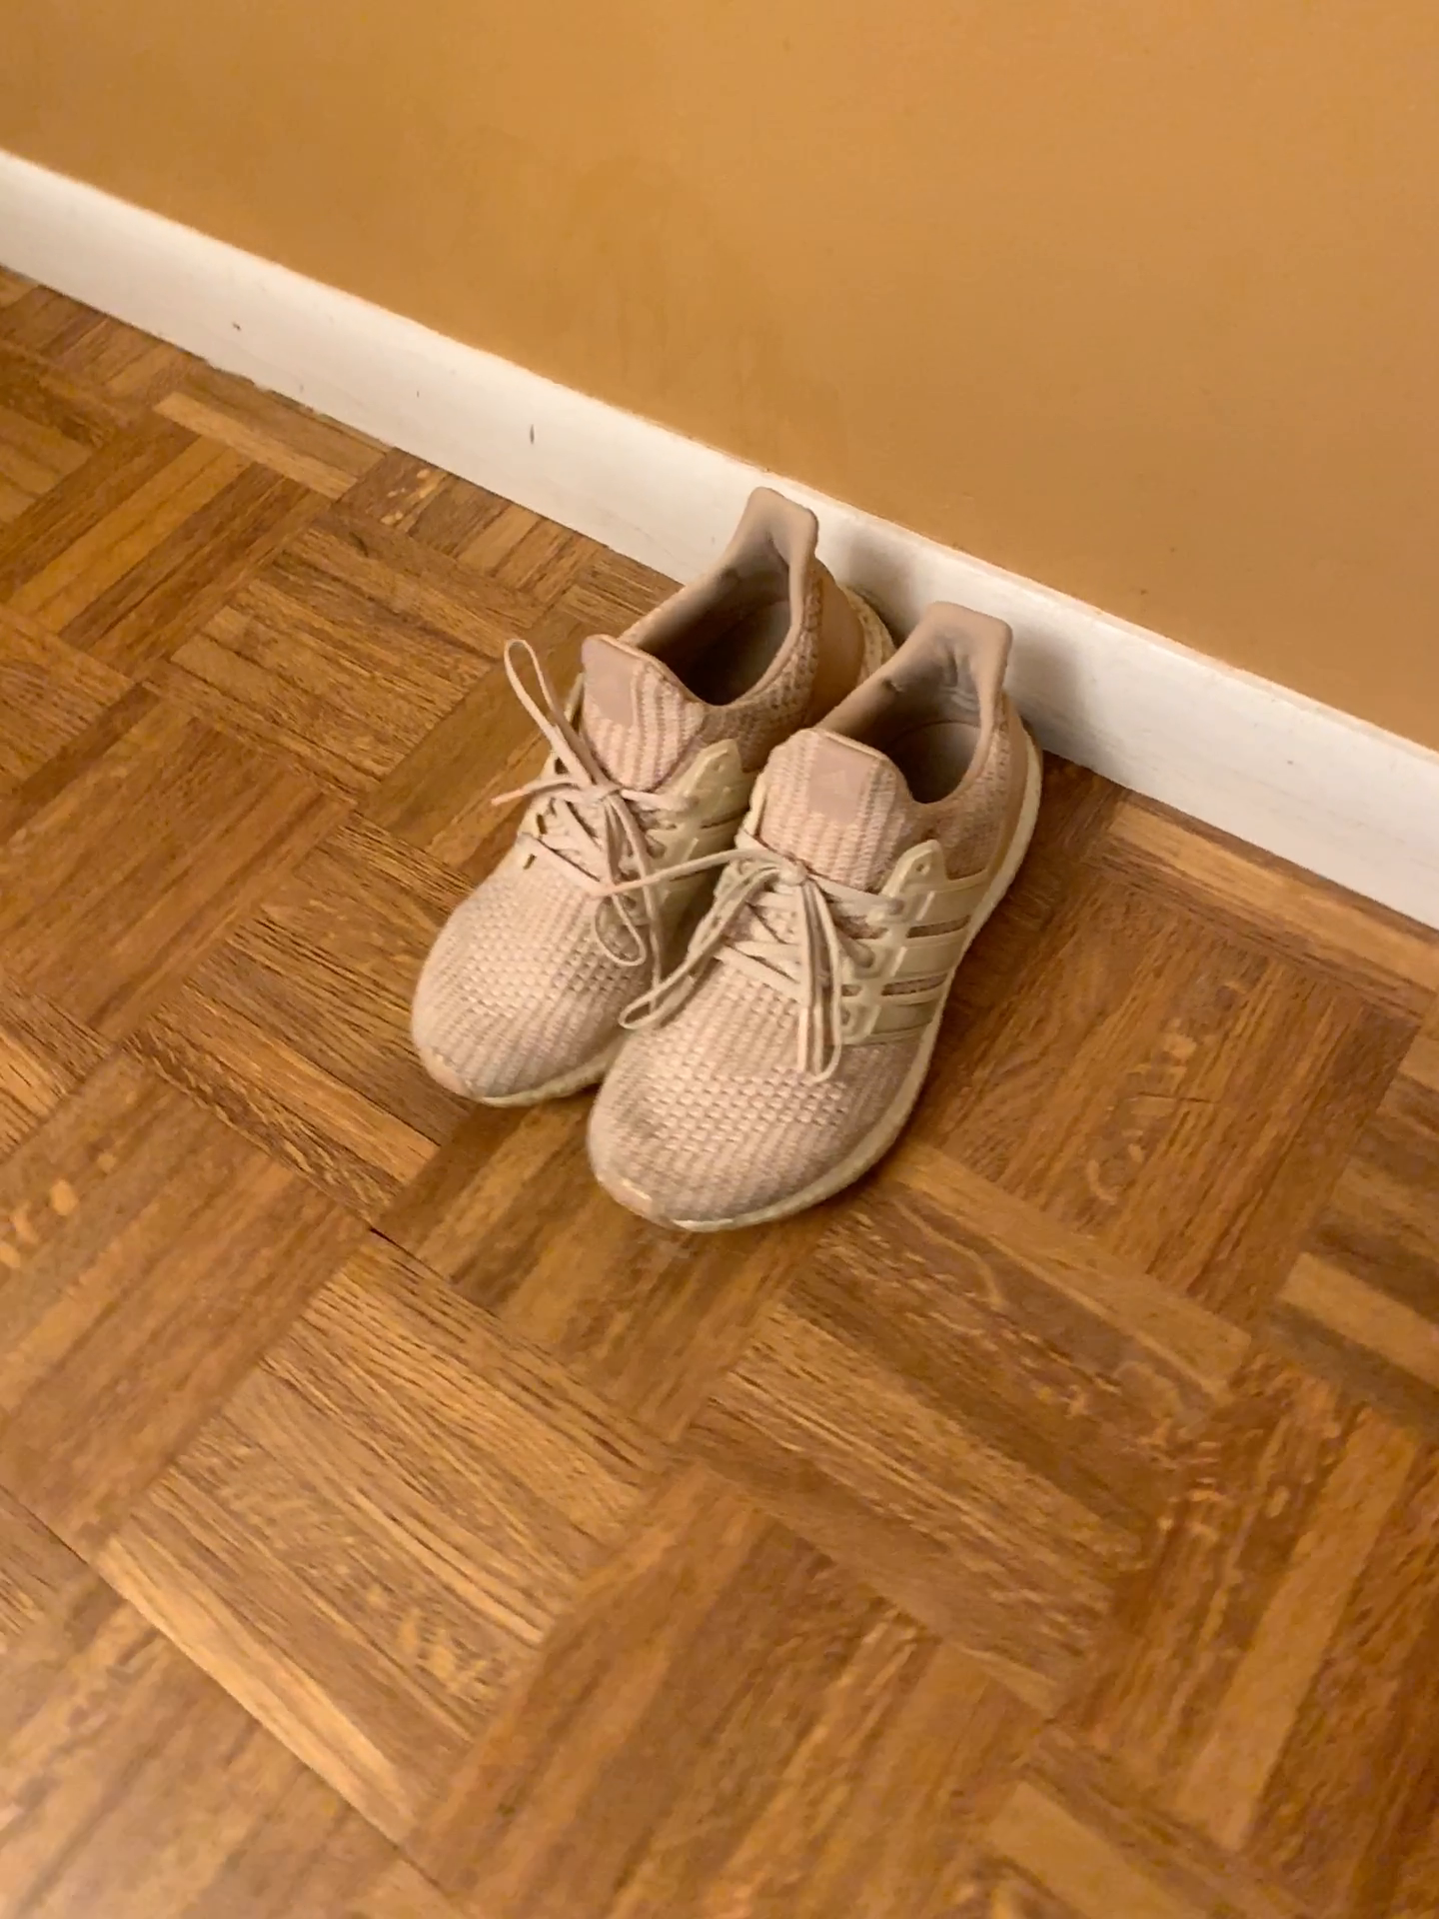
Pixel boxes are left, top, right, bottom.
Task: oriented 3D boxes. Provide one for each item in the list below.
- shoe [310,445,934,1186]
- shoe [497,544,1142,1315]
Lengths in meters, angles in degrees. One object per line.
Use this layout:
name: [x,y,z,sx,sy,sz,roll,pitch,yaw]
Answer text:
shoe: [-0.027,-0.060,0.638,0.100,0.130,0.280,30,76,21]
shoe: [0.049,-0.009,0.581,0.110,0.120,0.260,30,79,21]
